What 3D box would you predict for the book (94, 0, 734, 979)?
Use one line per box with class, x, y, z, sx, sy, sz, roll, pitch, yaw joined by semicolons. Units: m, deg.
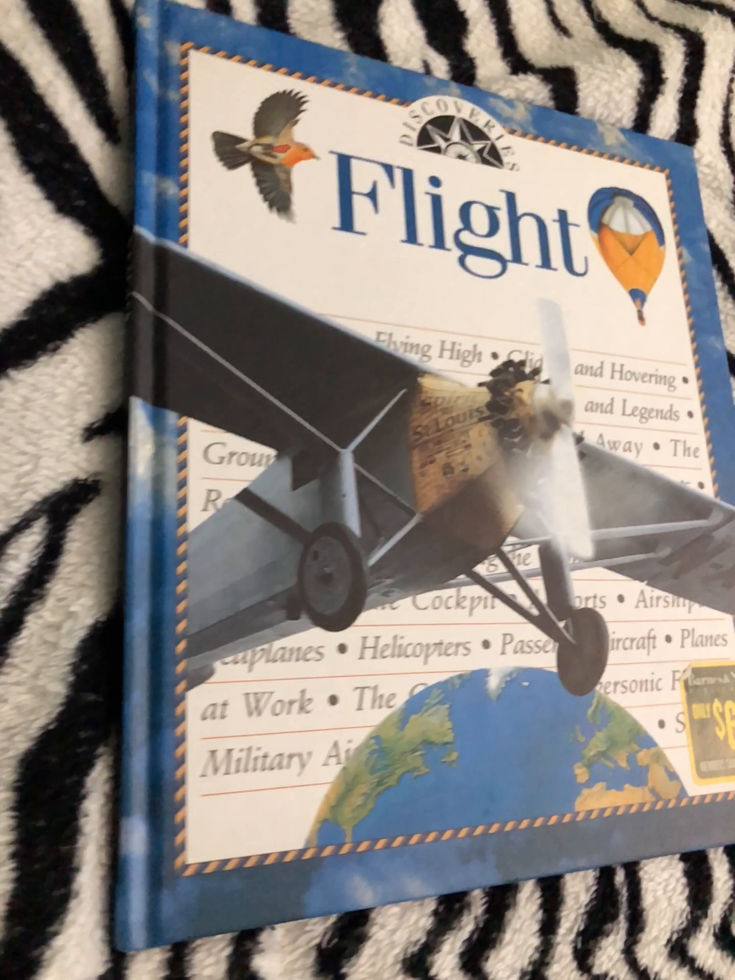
book;0.042;-0.017;0.295;0.259;0.020;0.300;3;75;-25
